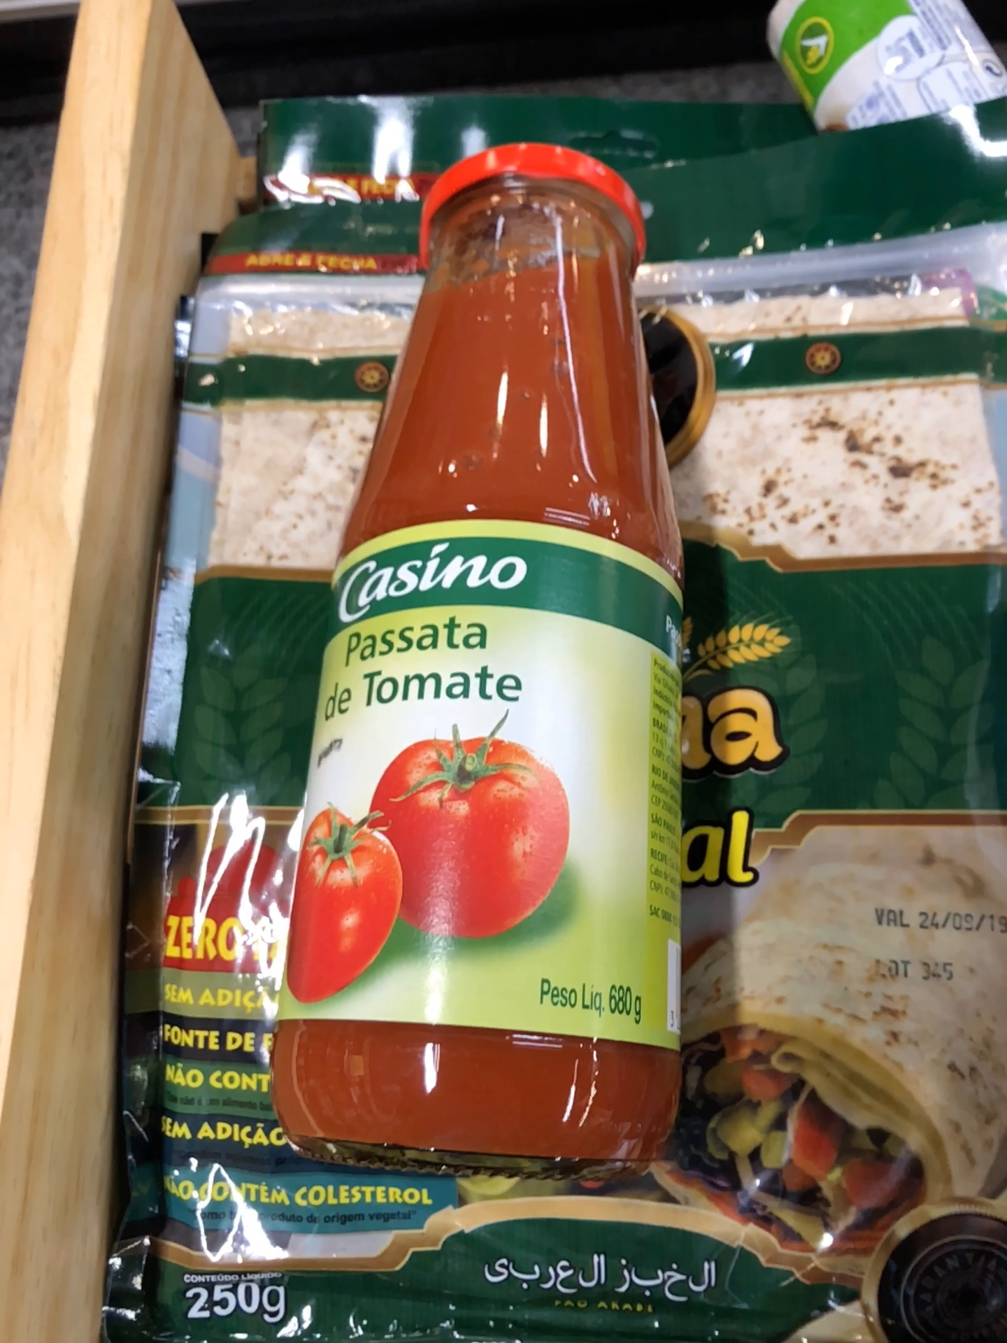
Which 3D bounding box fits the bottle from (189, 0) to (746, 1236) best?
[{"bbox_3d":[0.005,-0.014,0.245,0.070,0.080,0.231,-8,68,32],"label":"bottle"}]
